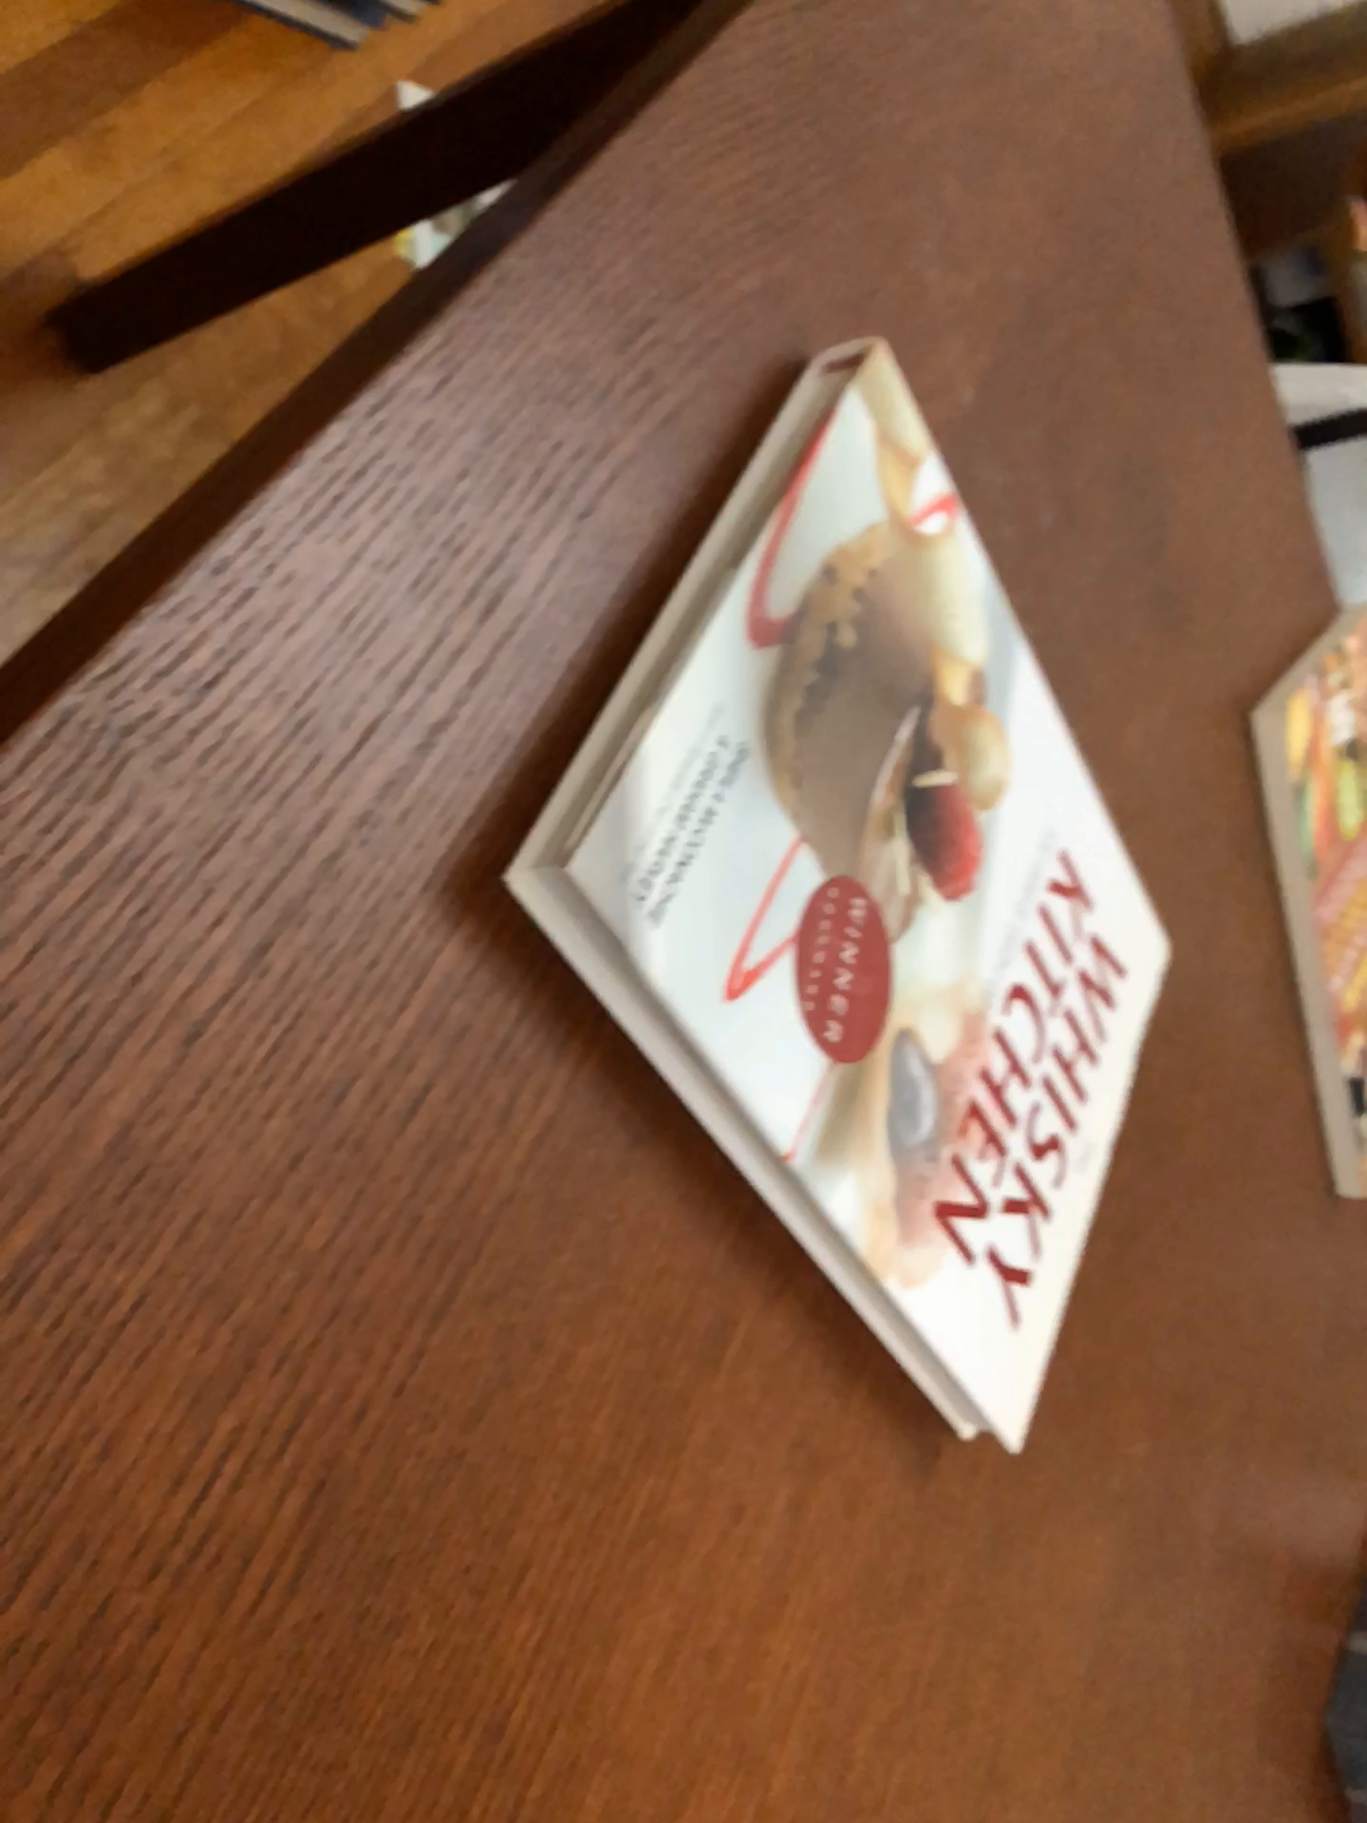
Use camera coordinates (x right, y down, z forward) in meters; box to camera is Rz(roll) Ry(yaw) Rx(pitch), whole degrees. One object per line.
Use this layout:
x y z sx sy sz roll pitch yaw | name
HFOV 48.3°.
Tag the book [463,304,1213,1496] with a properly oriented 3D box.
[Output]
0.077 0.004 0.453 0.271 0.040 0.221 54 48 -34 | book
